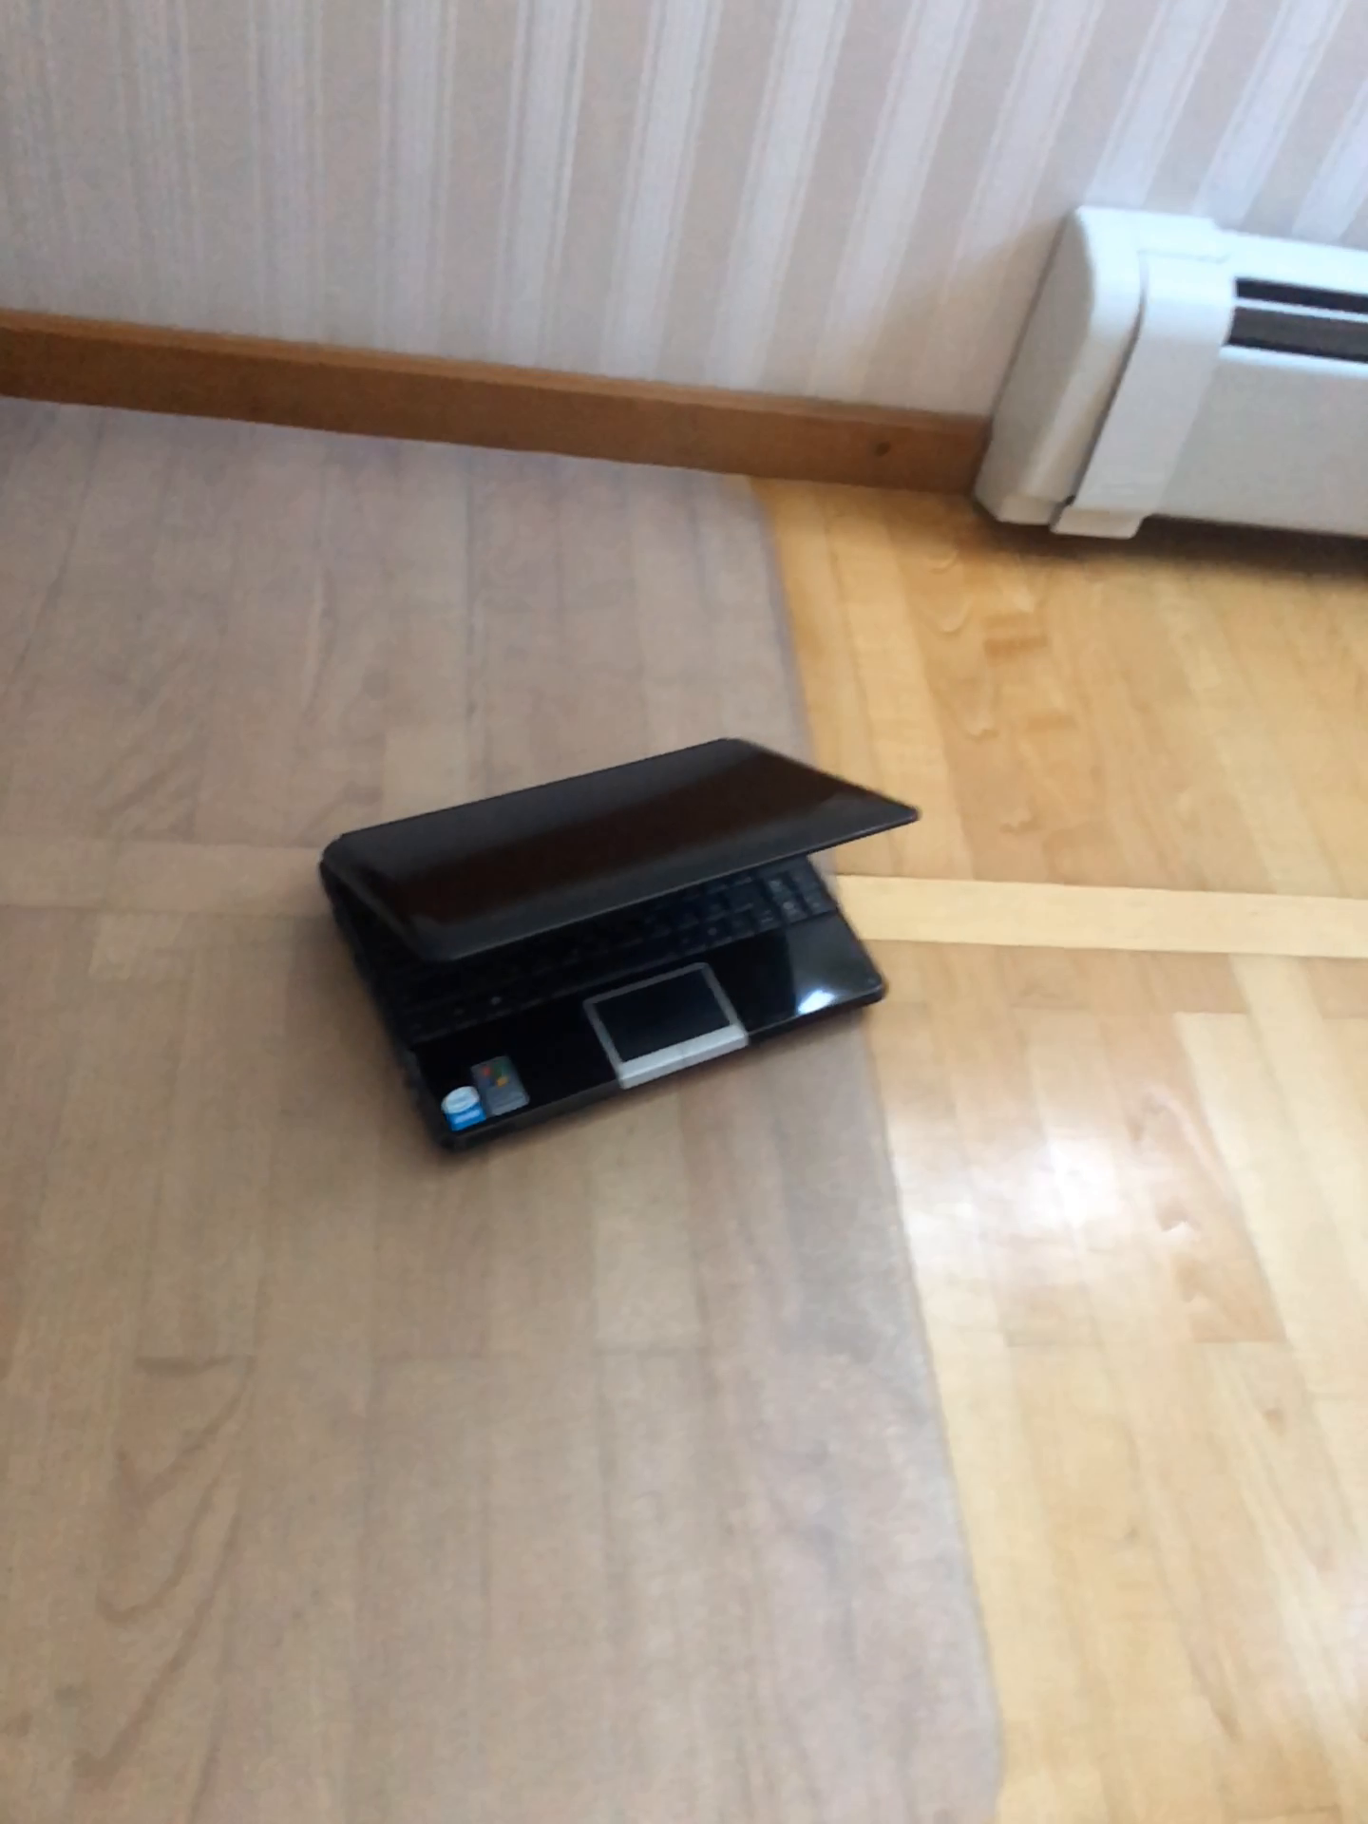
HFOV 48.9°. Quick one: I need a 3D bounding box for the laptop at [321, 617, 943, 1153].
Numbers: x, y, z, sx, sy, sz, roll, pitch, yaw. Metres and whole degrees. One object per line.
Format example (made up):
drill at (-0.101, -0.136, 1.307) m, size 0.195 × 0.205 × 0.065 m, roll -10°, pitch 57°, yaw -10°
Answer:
laptop at (-0.031, -0.024, 0.781) m, size 0.264 × 0.102 × 0.182 m, roll -17°, pitch 61°, yaw -26°
